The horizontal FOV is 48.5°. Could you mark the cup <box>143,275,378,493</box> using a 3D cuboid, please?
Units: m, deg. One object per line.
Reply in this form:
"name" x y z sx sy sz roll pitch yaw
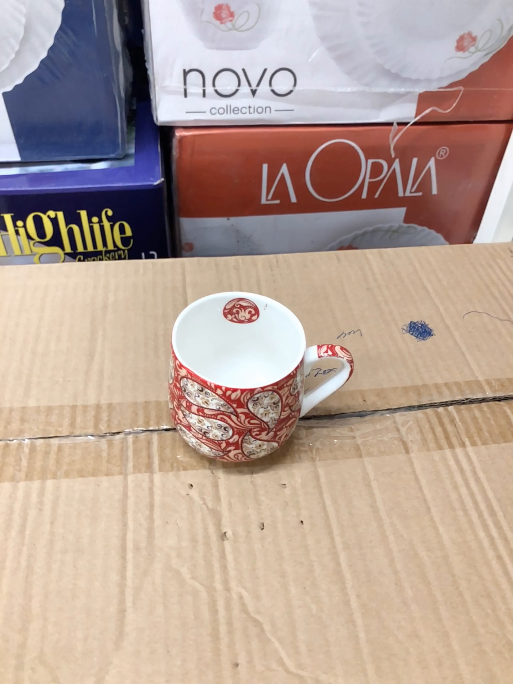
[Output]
"cup" -0.003 0.017 0.271 0.090 0.060 0.070 -7 43 -11
